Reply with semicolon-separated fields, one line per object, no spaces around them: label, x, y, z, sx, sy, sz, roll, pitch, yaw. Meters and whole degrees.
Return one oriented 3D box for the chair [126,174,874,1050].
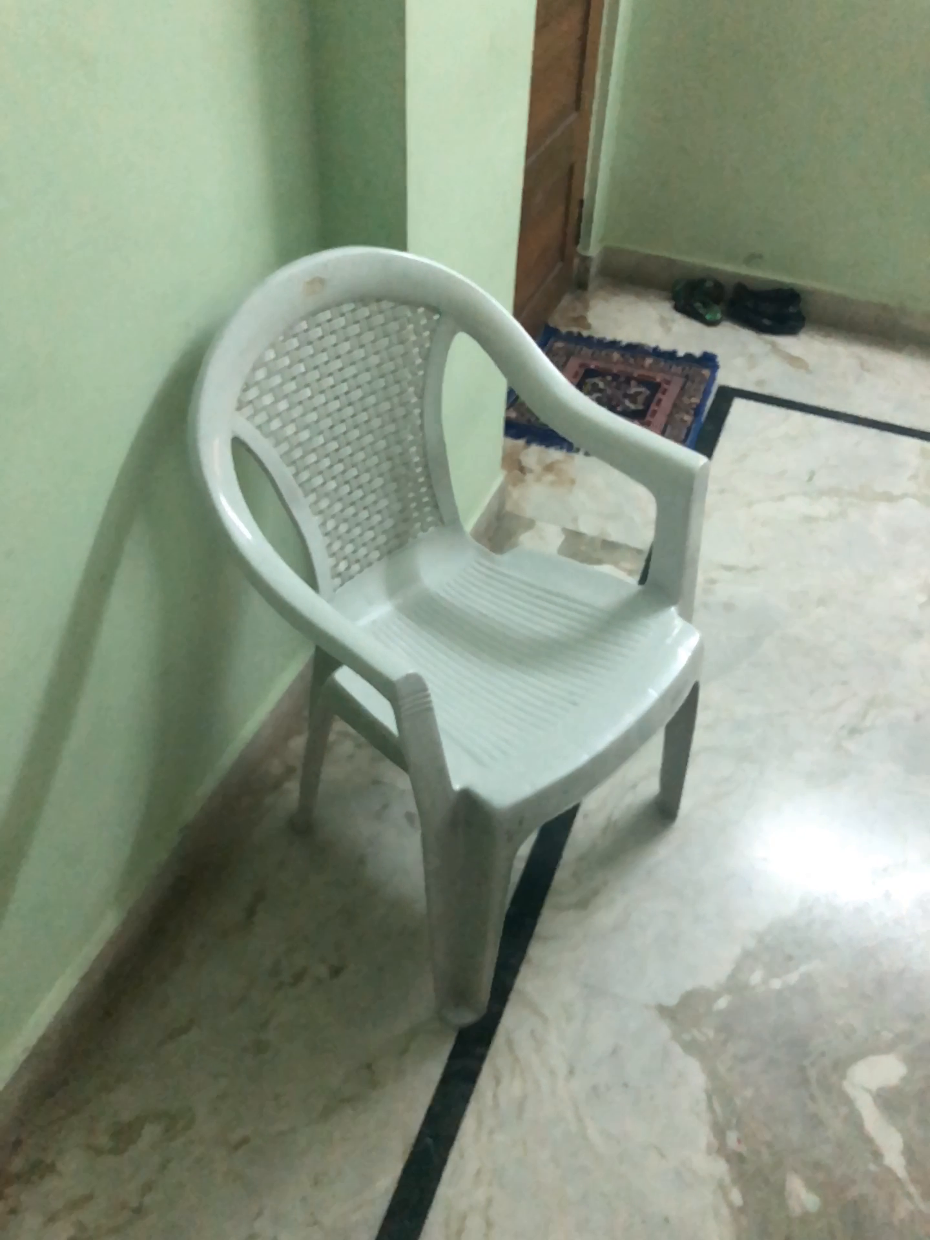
chair;0.022;-0.007;1.315;0.532;0.825;0.532;-33;53;-32
